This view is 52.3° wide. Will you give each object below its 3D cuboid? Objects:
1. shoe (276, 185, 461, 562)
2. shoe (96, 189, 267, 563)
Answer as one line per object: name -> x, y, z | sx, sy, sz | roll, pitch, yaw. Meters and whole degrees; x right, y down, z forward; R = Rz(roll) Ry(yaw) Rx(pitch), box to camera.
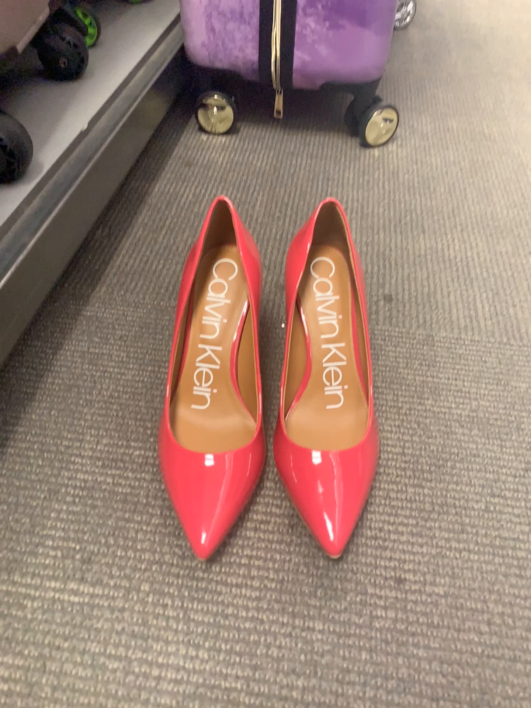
shoe -> 0.047, 0.003, 0.351 | 0.073, 0.120, 0.217 | 0, 48, -1
shoe -> -0.038, 0.007, 0.353 | 0.074, 0.130, 0.209 | 0, 48, -1
